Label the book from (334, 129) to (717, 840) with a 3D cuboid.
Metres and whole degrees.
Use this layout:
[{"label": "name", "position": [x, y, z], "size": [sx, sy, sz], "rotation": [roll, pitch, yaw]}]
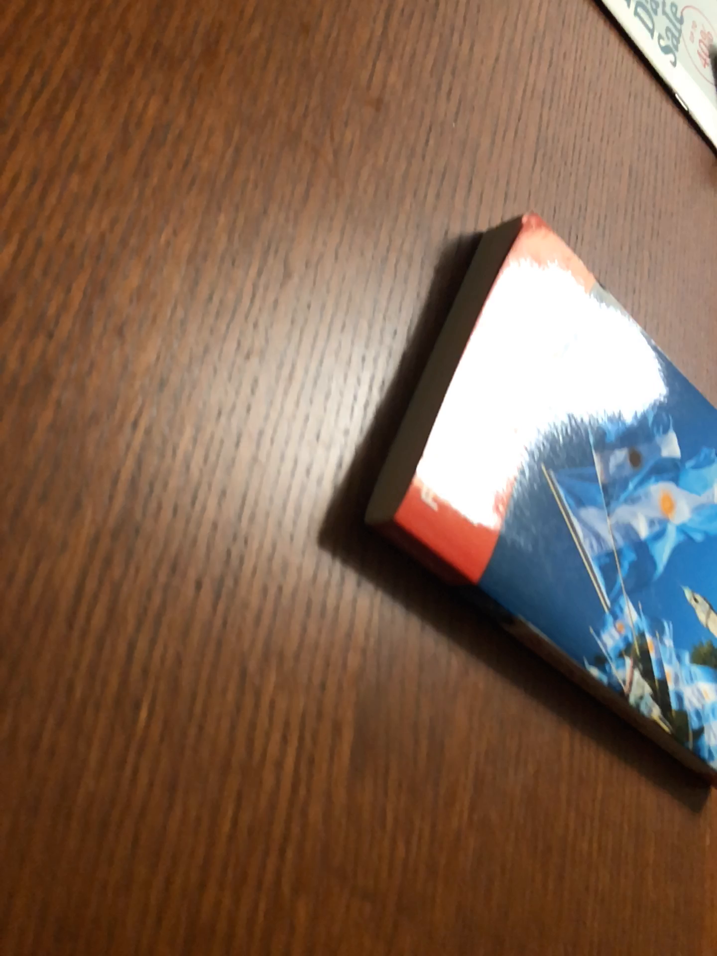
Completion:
[{"label": "book", "position": [0.106, 0.009, 0.285], "size": [0.220, 0.020, 0.160], "rotation": [36, 60, -26]}]
